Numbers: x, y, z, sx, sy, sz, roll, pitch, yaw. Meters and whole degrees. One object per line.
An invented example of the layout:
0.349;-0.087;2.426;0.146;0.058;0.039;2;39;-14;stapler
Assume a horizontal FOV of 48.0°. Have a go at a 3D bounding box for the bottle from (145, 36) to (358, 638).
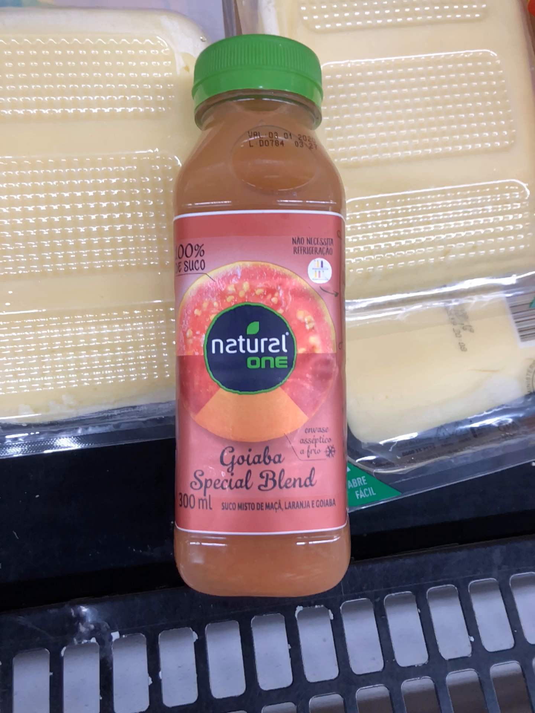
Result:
-0.009;-0.008;0.215;0.060;0.070;0.180;-1;83;-5;bottle
